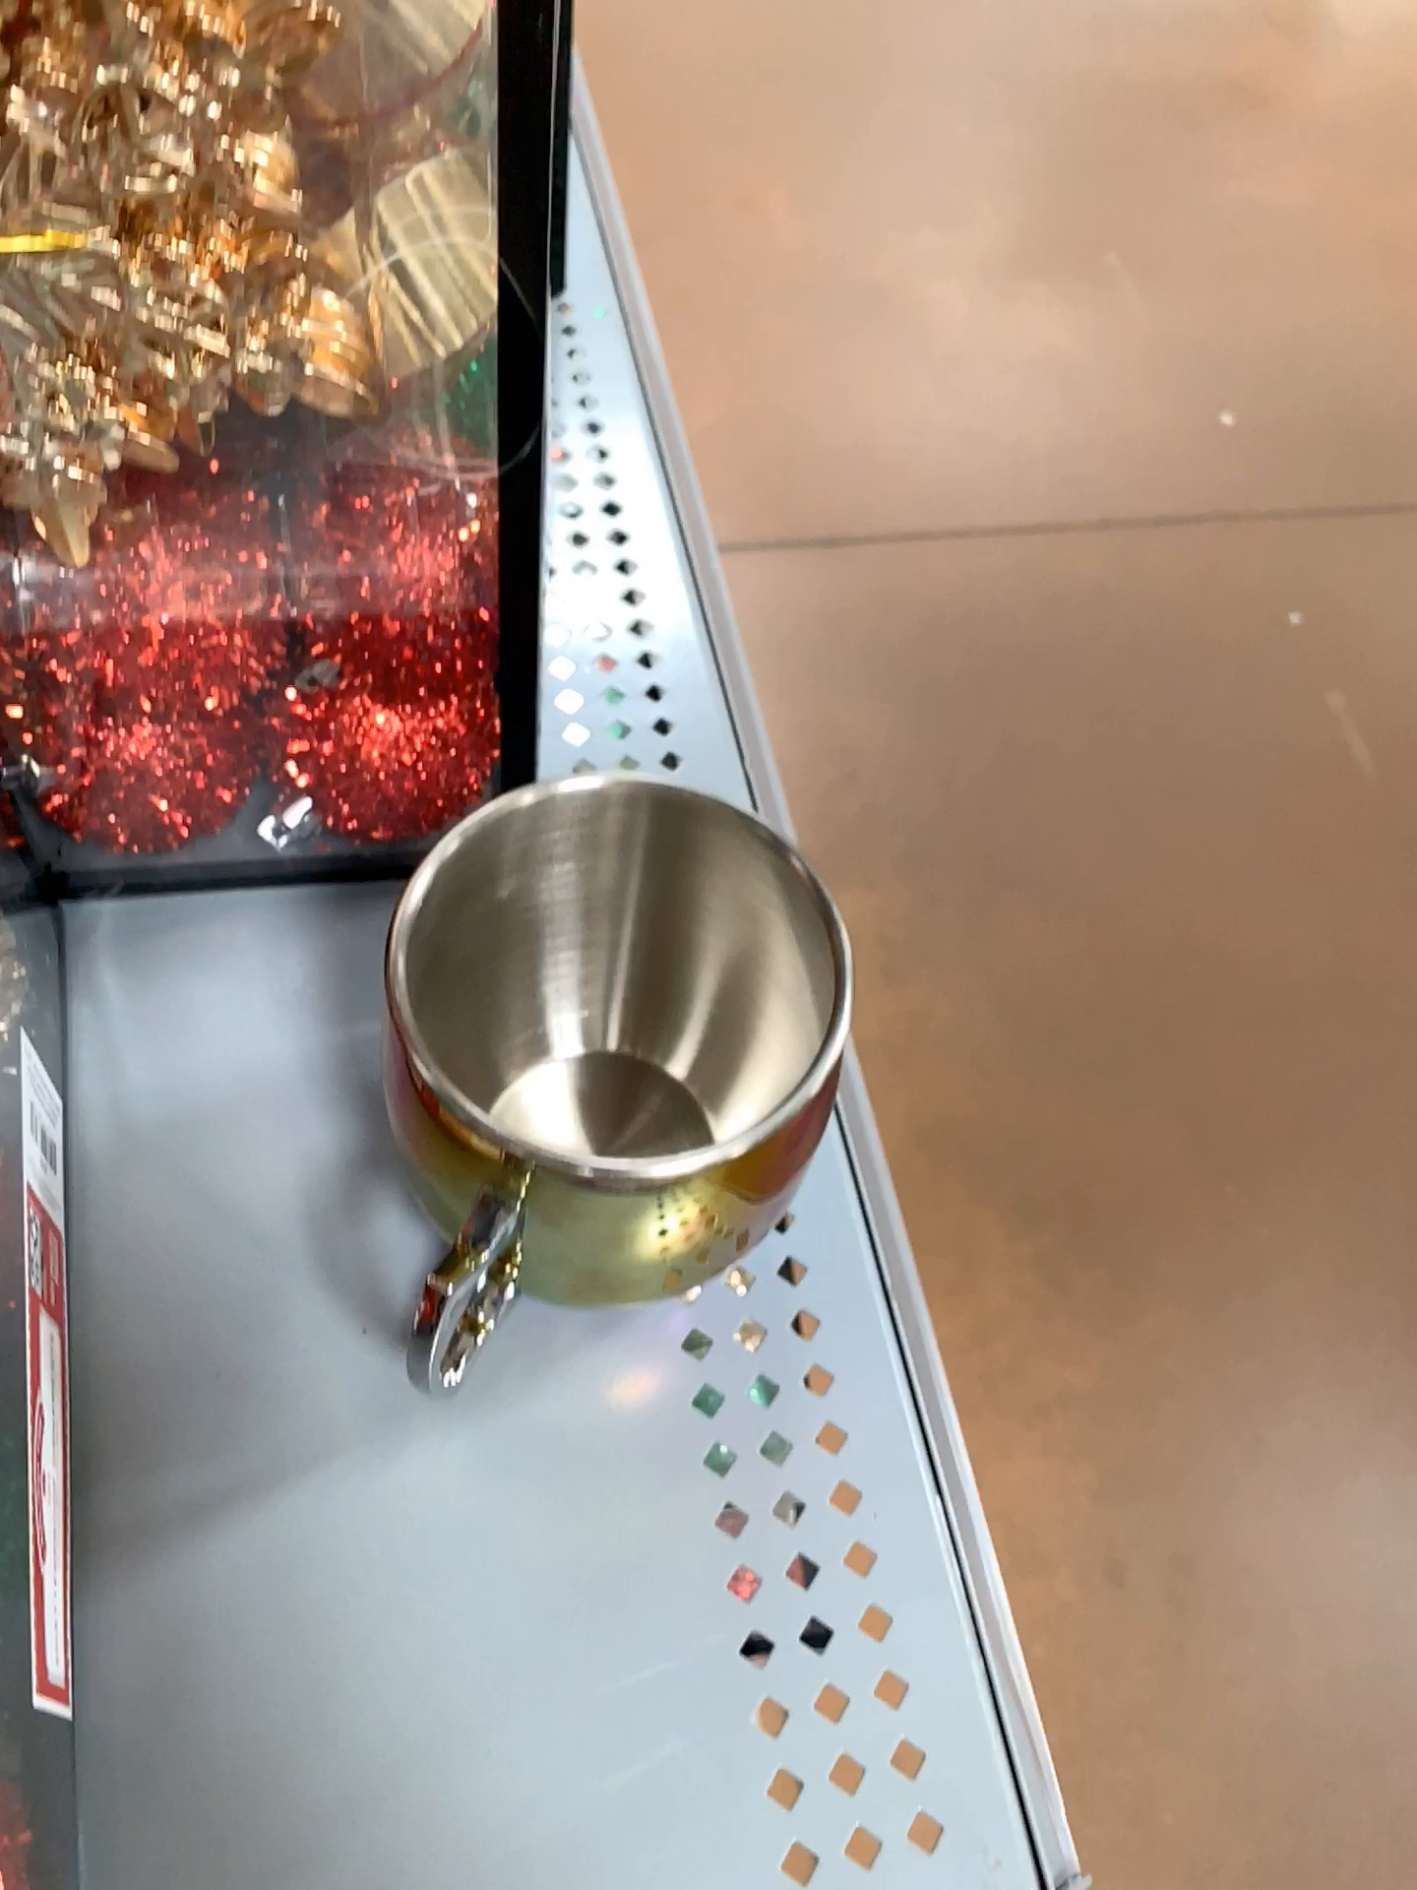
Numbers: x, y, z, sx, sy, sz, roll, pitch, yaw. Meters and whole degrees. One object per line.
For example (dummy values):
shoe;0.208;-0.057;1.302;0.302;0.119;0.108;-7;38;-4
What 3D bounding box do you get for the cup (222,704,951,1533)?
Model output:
cup;-0.020;0.035;0.289;0.087;0.090;0.110;22;58;5
